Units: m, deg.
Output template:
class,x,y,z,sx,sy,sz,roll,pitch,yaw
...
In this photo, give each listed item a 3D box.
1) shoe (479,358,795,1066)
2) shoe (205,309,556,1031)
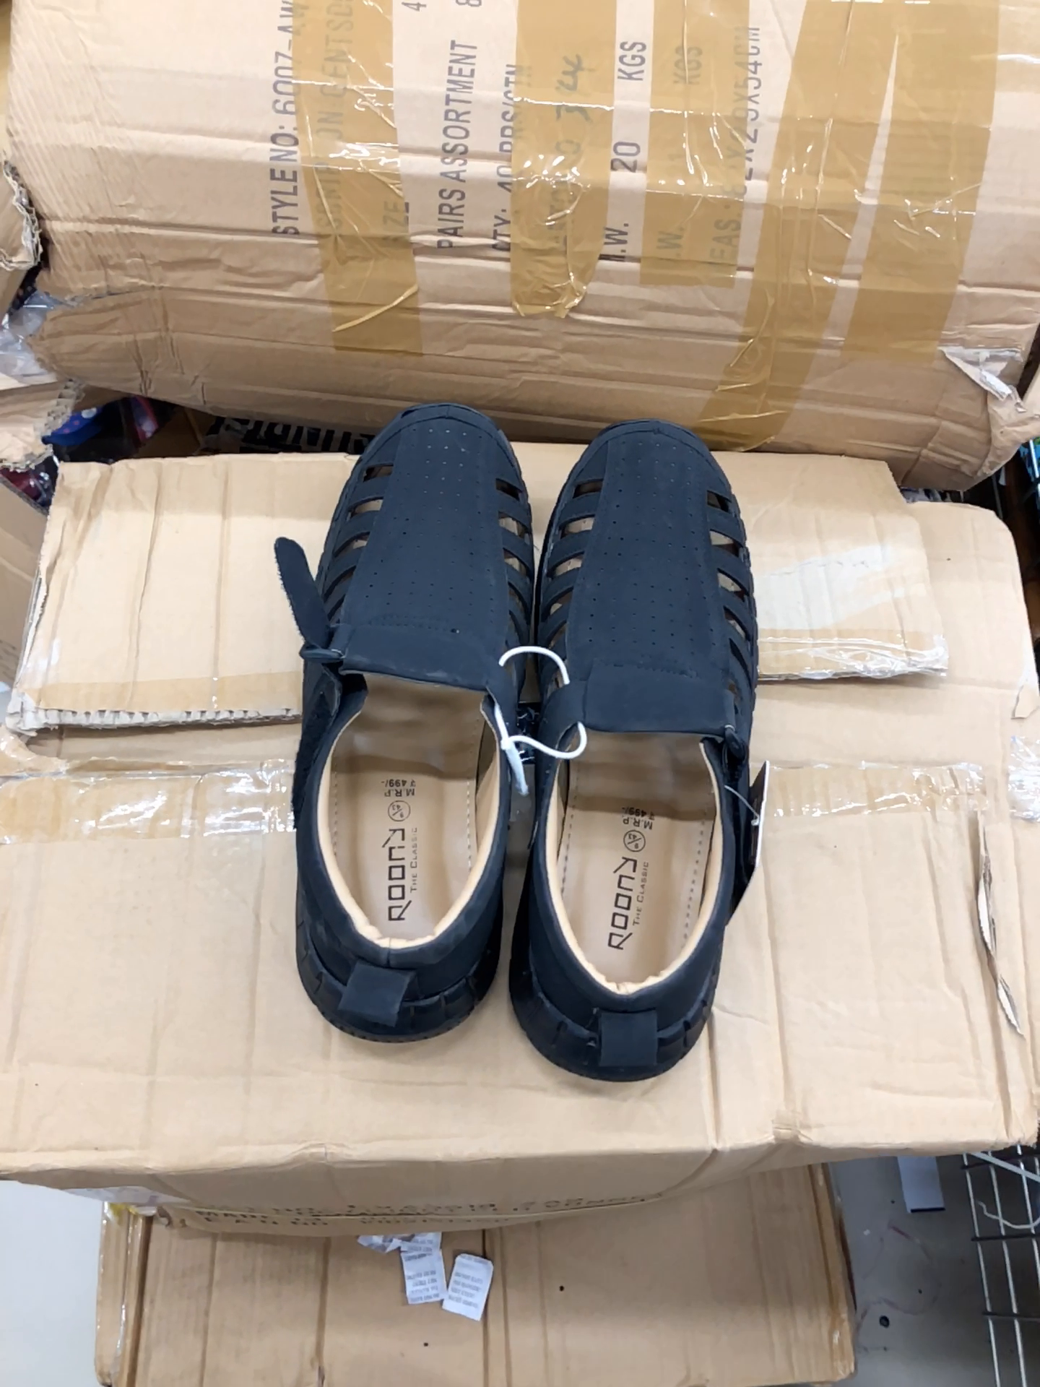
class,x,y,z,sx,sy,sz,roll,pitch,yaw
shoe,0.045,0.003,0.476,0.100,0.100,0.271,5,63,-2
shoe,-0.049,-0.015,0.470,0.110,0.100,0.281,1,63,-4
